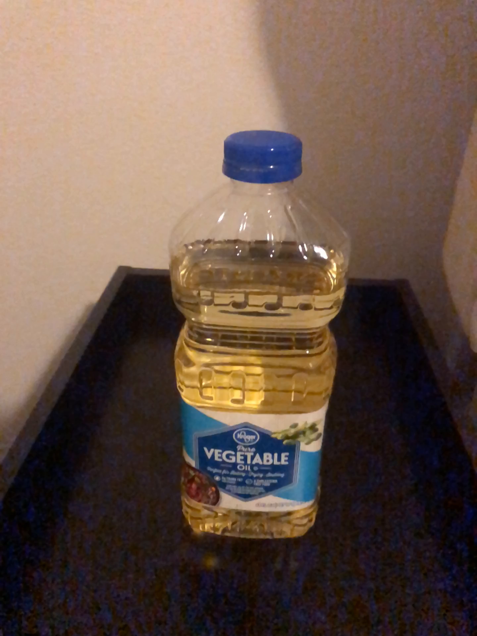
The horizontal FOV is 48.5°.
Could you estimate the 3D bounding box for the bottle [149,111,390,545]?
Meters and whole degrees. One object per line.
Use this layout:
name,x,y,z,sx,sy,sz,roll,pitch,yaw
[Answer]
bottle,0.014,0.019,0.347,0.110,0.275,0.084,2,30,3
